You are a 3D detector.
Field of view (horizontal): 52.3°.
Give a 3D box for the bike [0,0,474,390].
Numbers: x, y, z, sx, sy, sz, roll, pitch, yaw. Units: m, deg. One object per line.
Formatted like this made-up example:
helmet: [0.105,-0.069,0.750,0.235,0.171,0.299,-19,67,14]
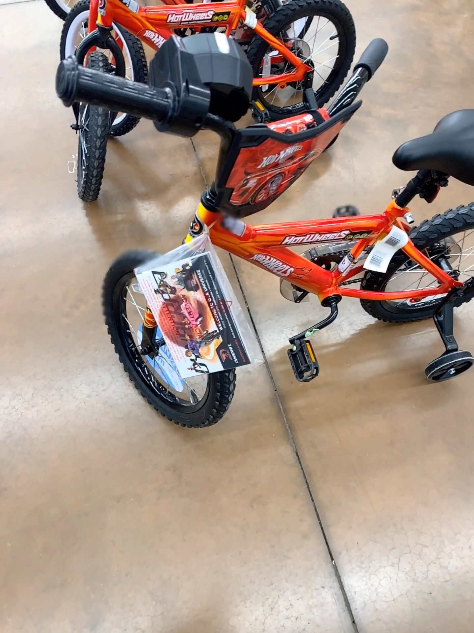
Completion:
bike: [0.153,-0.272,1.036,0.994,0.822,0.504,-8,58,1]
